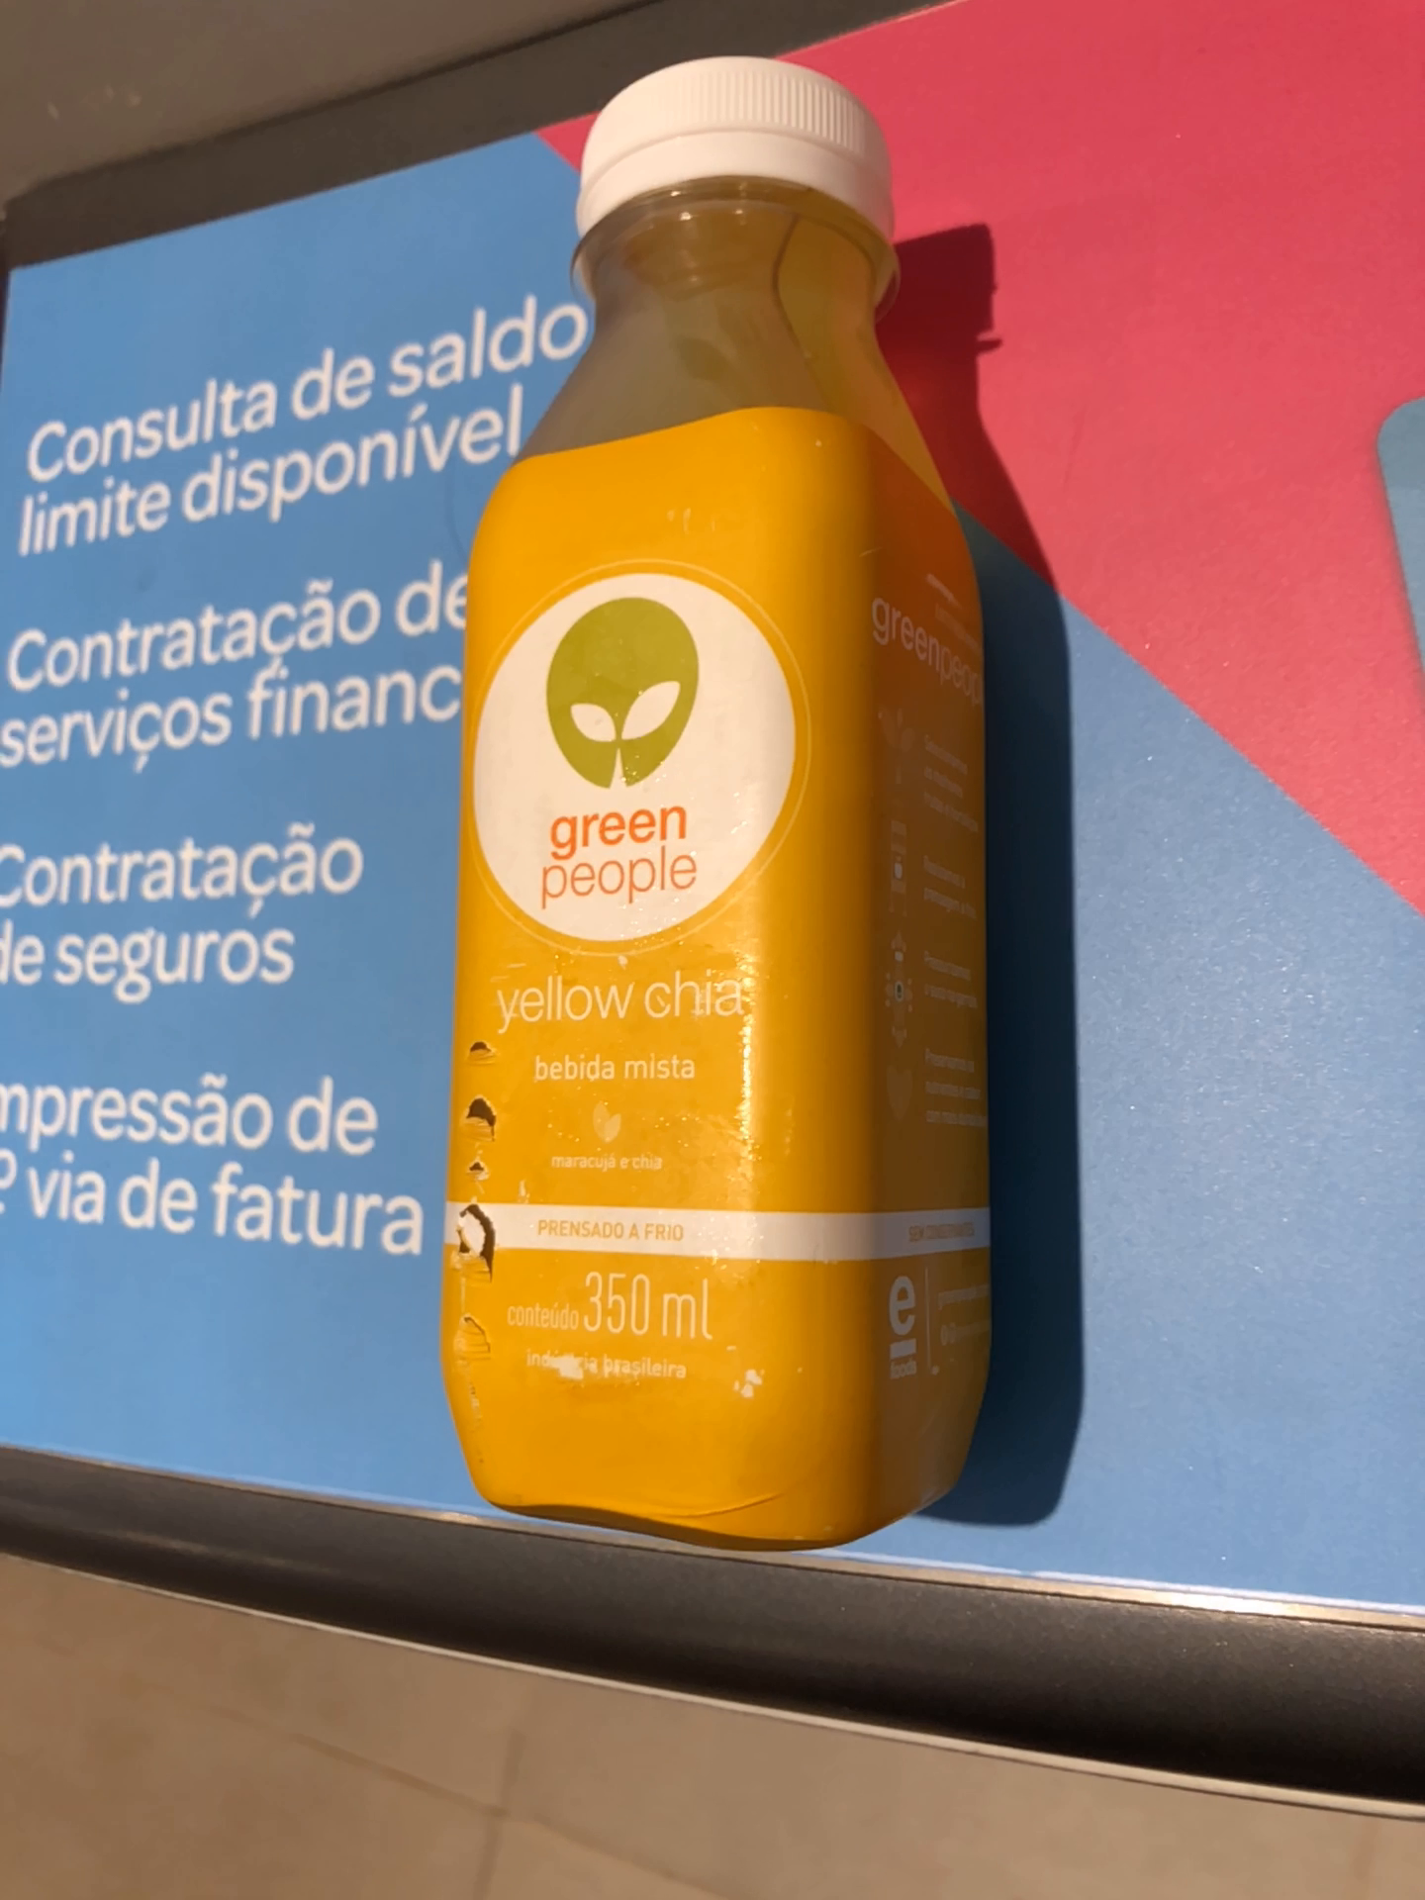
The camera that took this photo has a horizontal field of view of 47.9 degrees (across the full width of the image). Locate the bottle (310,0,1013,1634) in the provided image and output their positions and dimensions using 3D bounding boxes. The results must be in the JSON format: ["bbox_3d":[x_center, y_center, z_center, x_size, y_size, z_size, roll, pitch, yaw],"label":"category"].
[{"bbox_3d":[-0.001,-0.021,0.201,0.060,0.060,0.180,-3,80,29],"label":"bottle"}]
